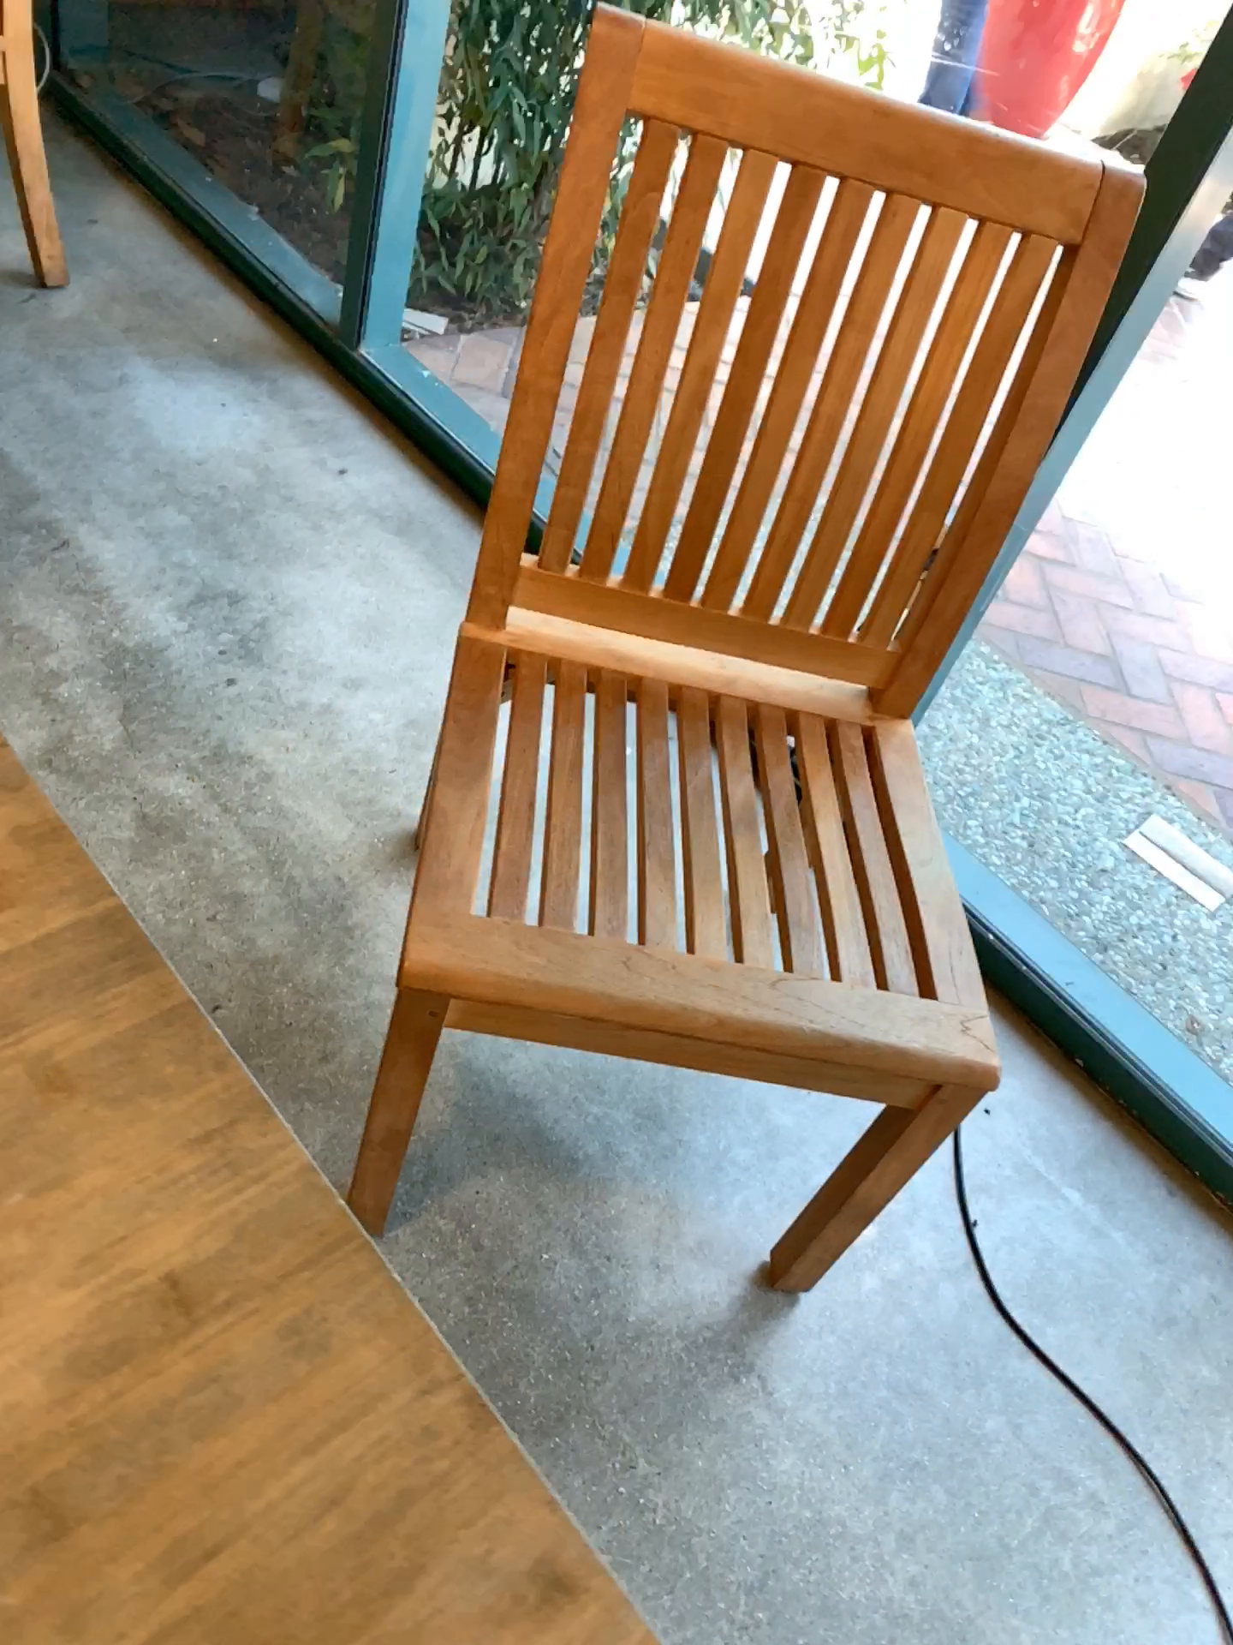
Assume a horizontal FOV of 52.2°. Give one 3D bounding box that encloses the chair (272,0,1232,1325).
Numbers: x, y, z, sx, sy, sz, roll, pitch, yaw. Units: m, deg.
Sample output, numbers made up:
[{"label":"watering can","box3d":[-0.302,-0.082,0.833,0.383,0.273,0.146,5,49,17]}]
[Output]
[{"label":"chair","box3d":[0.067,-0.081,1.104,0.530,0.916,0.613,12,45,-9]}]
